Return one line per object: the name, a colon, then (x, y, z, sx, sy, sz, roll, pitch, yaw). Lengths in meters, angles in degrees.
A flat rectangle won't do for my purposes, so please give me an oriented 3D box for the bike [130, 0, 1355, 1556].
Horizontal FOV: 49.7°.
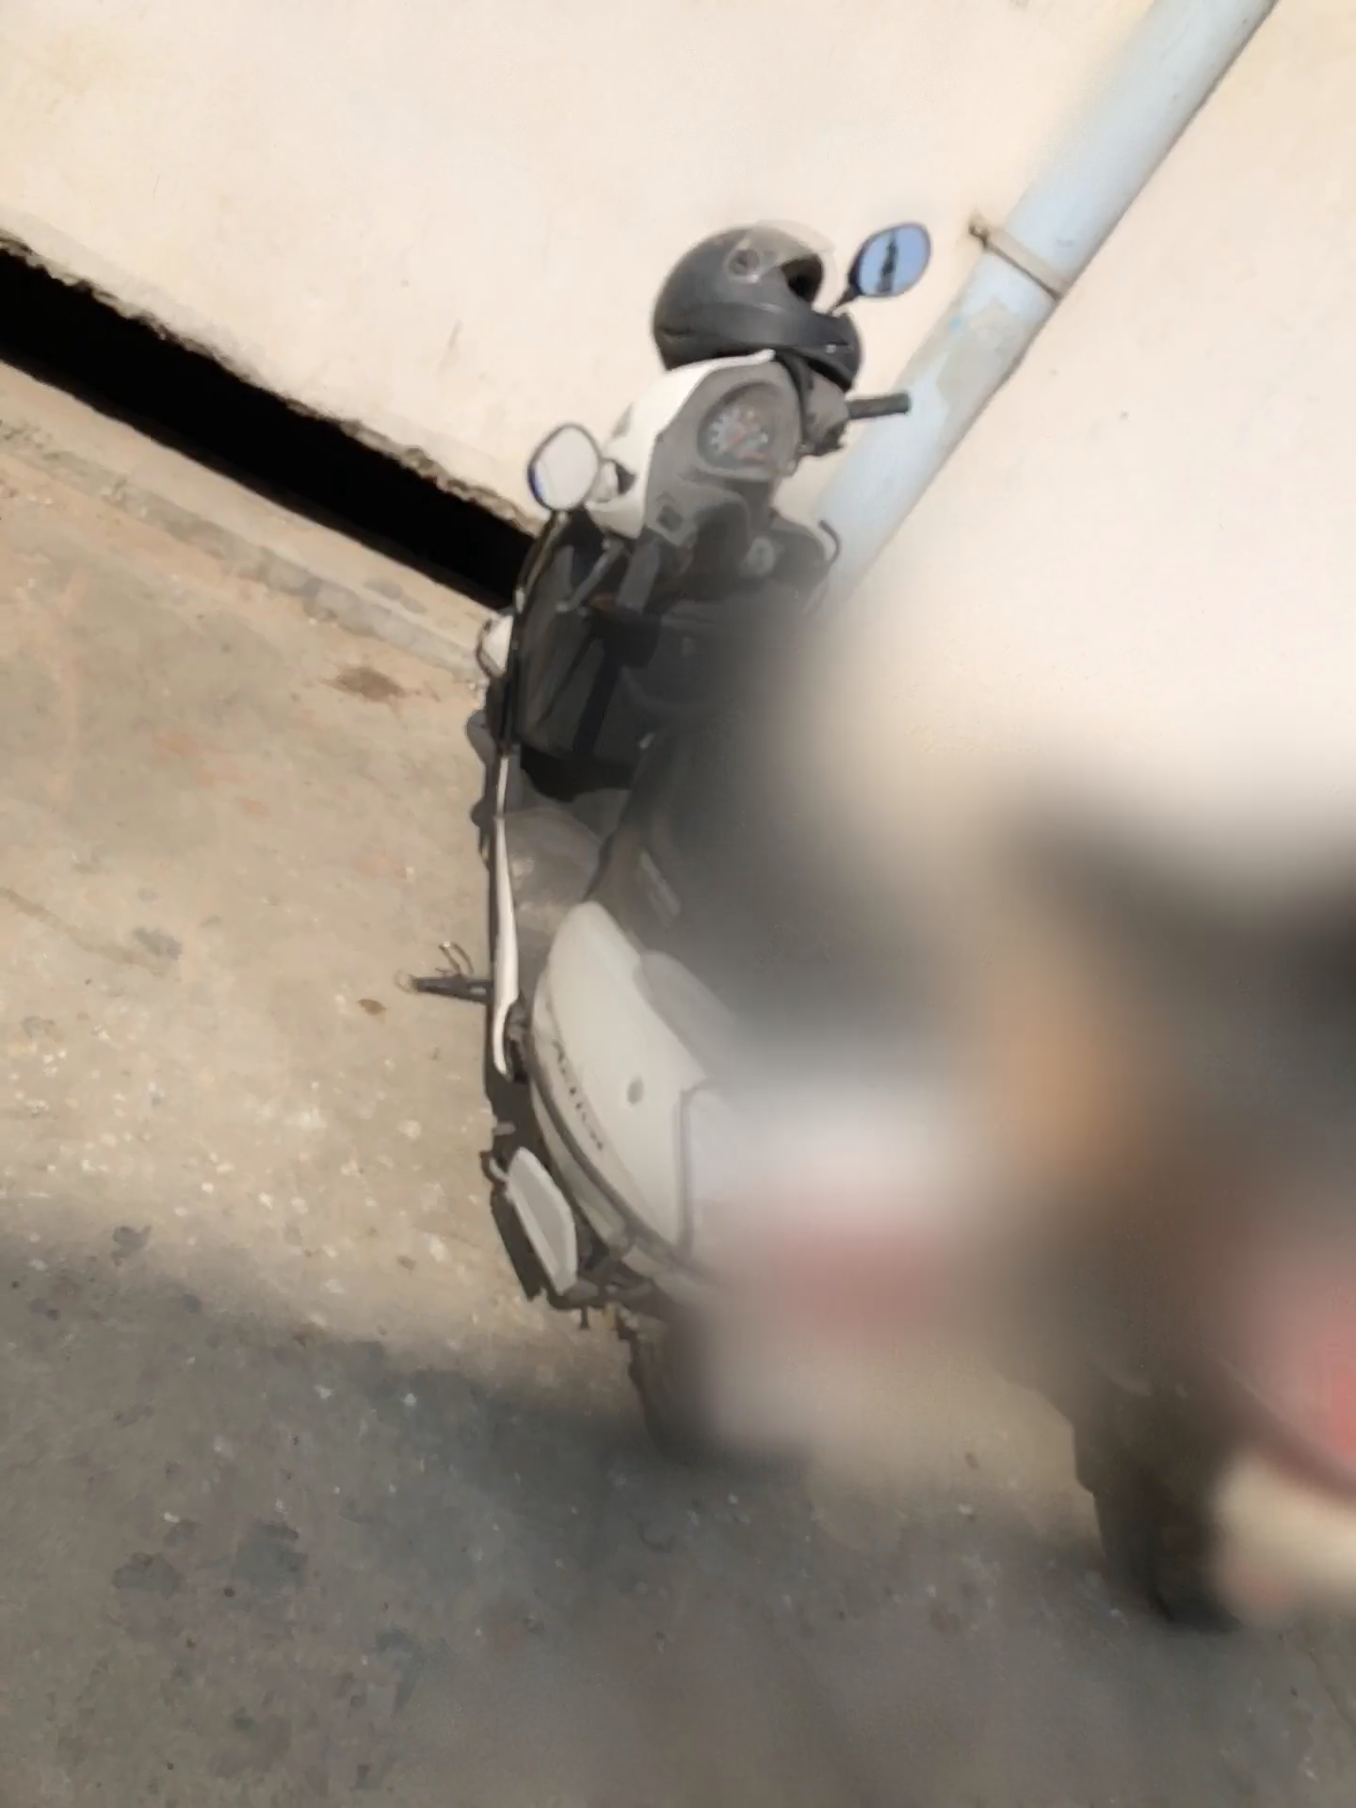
bike: (-0.080, -0.145, 1.826, 0.626, 1.122, 1.303, 11, 41, -38)
